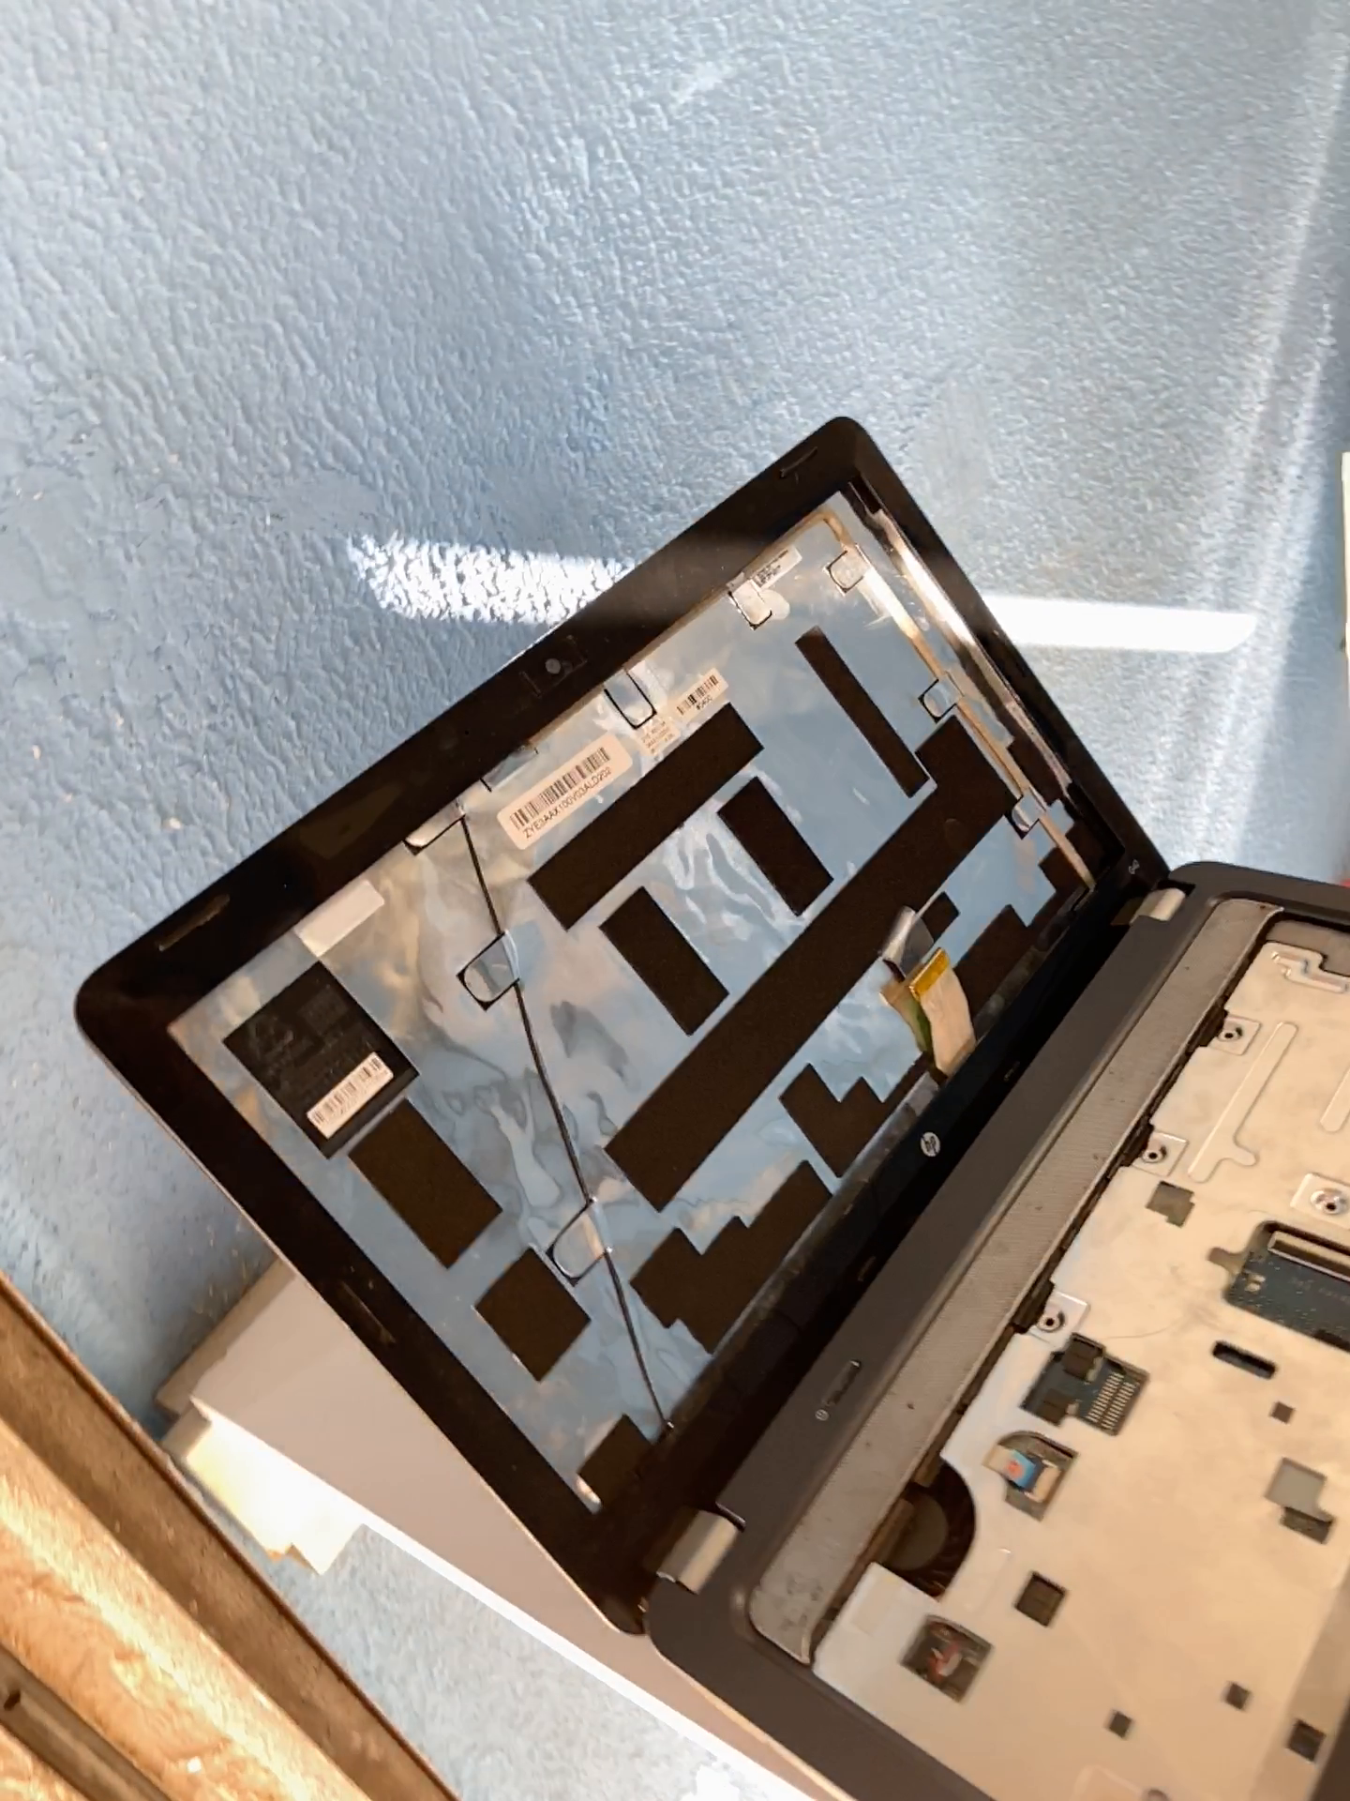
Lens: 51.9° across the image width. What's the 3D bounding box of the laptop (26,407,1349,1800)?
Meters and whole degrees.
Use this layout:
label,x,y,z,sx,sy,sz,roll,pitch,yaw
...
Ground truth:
label,x,y,z,sx,sy,sz,roll,pitch,yaw
laptop,0.104,0.027,0.366,0.349,0.179,0.339,16,47,40
